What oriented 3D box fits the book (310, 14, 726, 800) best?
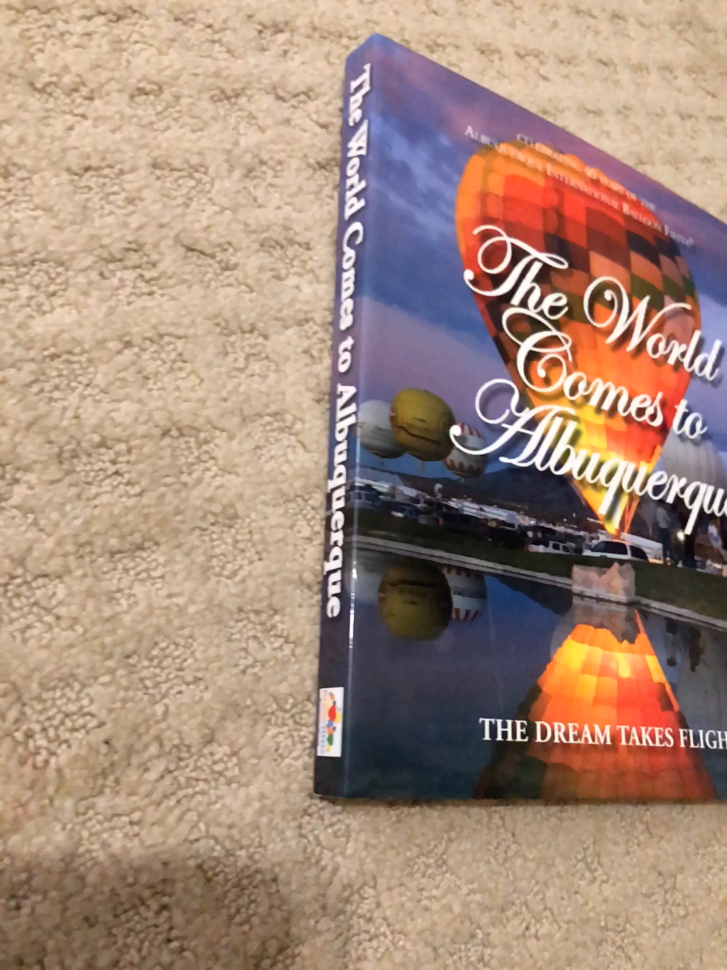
[{"bbox_3d":[0.082,-0.022,0.303,0.205,0.023,0.258,12,69,-29],"label":"book"}]
